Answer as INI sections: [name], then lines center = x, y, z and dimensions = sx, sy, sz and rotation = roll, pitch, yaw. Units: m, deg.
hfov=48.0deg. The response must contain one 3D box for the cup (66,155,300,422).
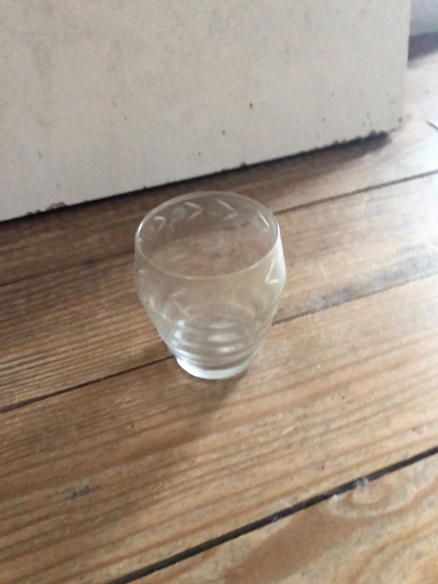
[cup]
center = -0.009, -0.002, 0.167
dimensions = 0.050, 0.060, 0.050
rotation = -1, 44, 1
